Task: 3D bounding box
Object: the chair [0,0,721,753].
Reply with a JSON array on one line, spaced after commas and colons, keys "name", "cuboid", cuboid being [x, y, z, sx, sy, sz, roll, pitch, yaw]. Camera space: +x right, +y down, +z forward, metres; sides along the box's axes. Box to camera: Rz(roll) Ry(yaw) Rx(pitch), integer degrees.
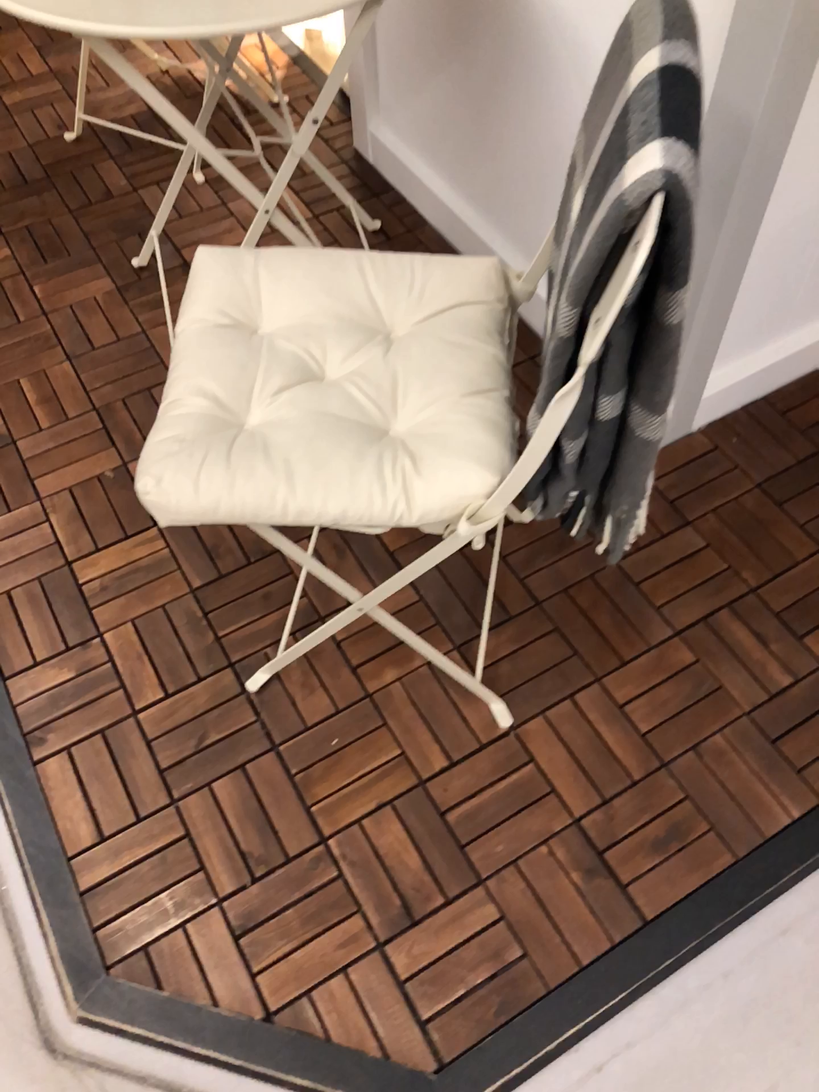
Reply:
[{"name": "chair", "cuboid": [-0.029, -0.188, 0.970, 0.510, 0.736, 0.493, 7, 55, 6]}]
